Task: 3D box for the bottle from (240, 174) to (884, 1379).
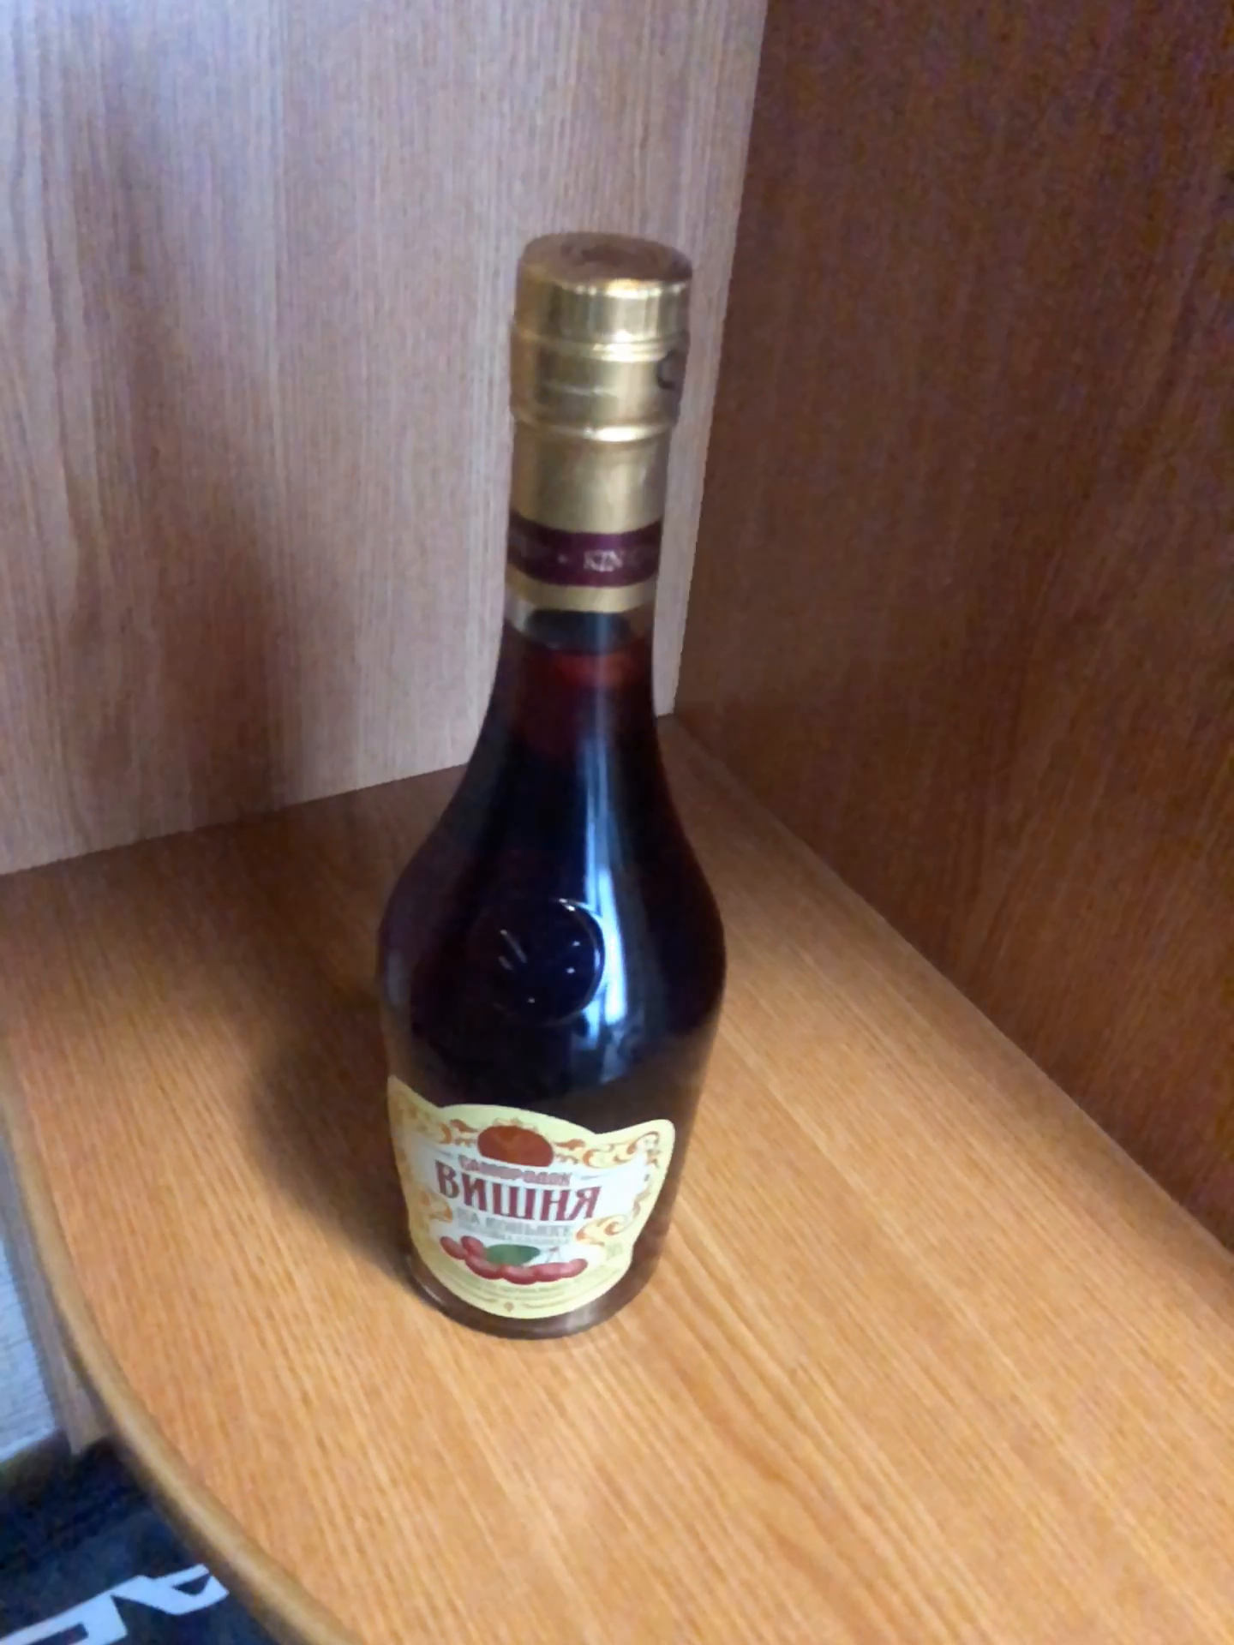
[{"bbox_3d":[-0.013,0.005,0.295,0.090,0.244,0.080,11,36,6],"label":"bottle"}]
